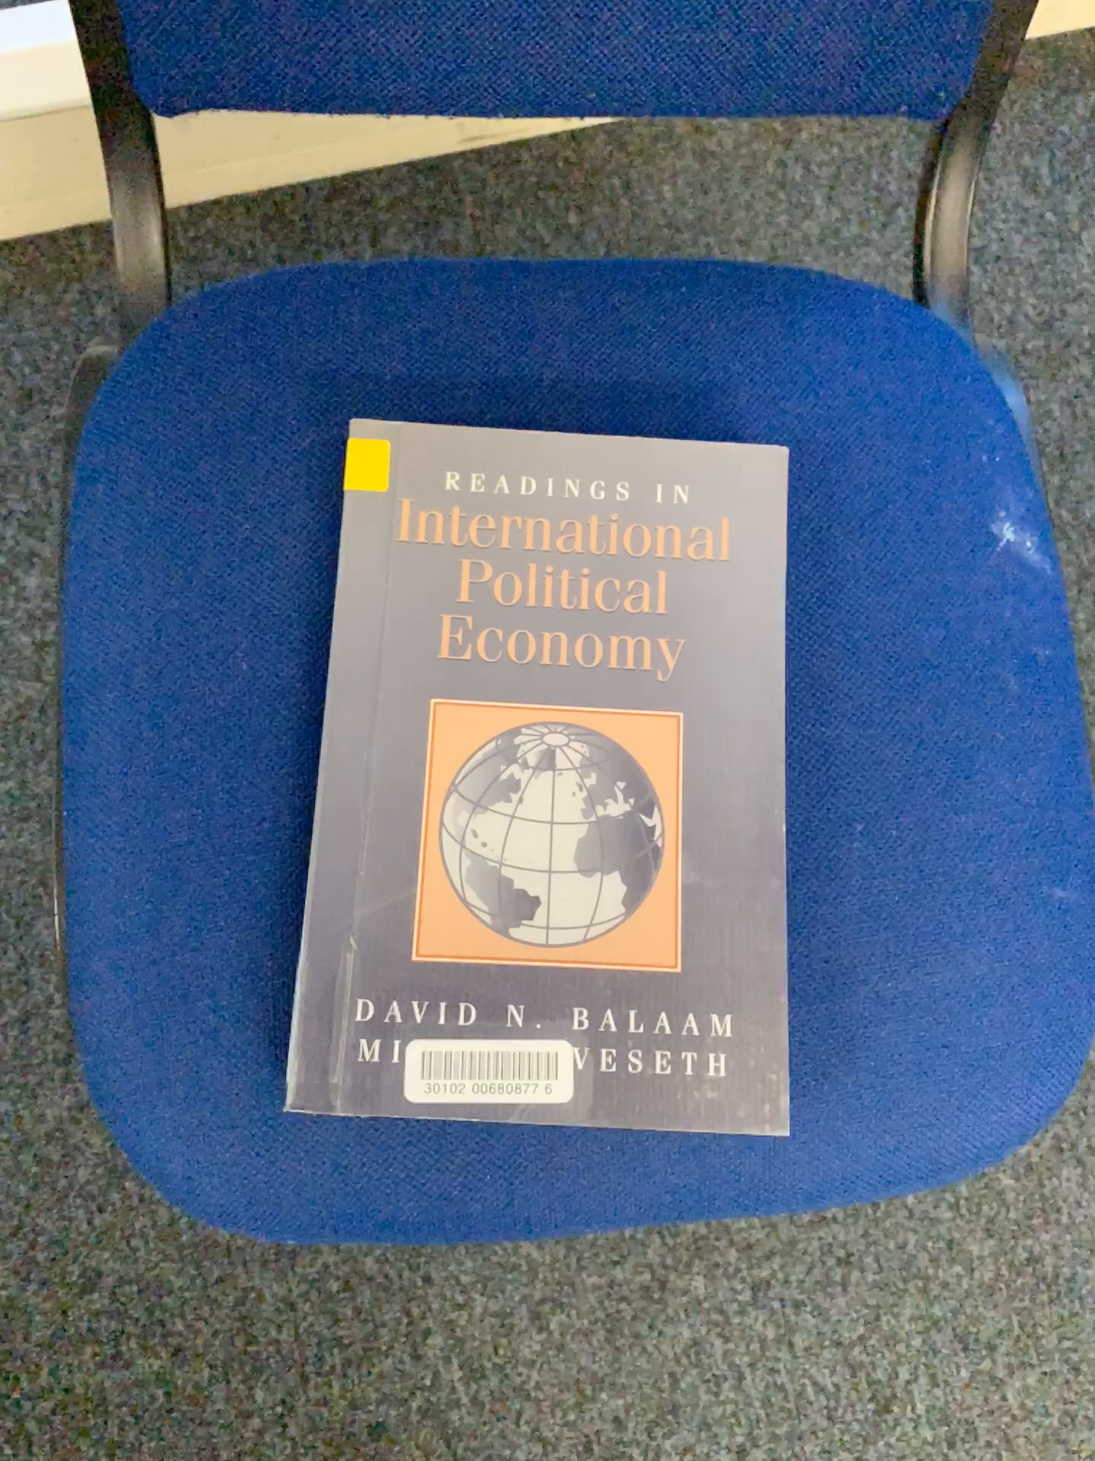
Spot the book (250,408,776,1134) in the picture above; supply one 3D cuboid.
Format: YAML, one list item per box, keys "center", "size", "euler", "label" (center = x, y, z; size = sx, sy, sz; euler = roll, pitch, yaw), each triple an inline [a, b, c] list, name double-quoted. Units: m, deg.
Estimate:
- center: [-0.006, 0.009, 0.361]
  size: [0.150, 0.030, 0.220]
  euler: [3, 76, -4]
  label: "book"
